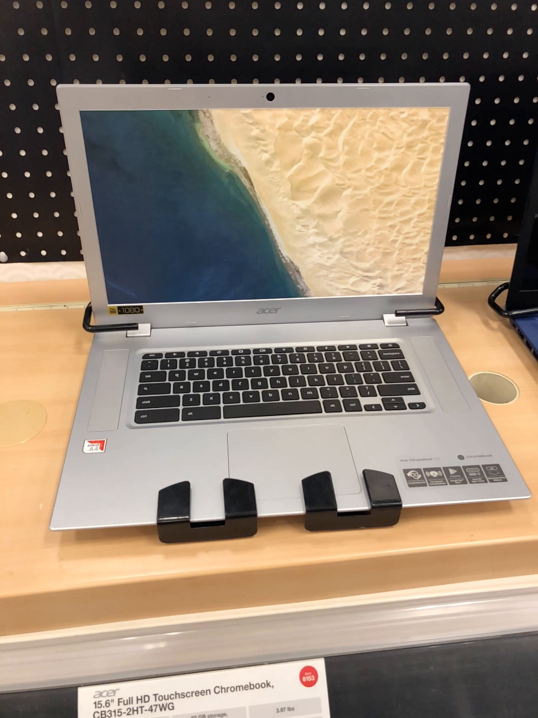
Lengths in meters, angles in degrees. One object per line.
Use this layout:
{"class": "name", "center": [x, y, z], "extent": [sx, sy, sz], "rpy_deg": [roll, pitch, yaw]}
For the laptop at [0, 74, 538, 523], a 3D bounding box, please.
{"class": "laptop", "center": [0.008, -0.079, 0.515], "extent": [0.371, 0.246, 0.287], "rpy_deg": [-3, 34, -5]}
